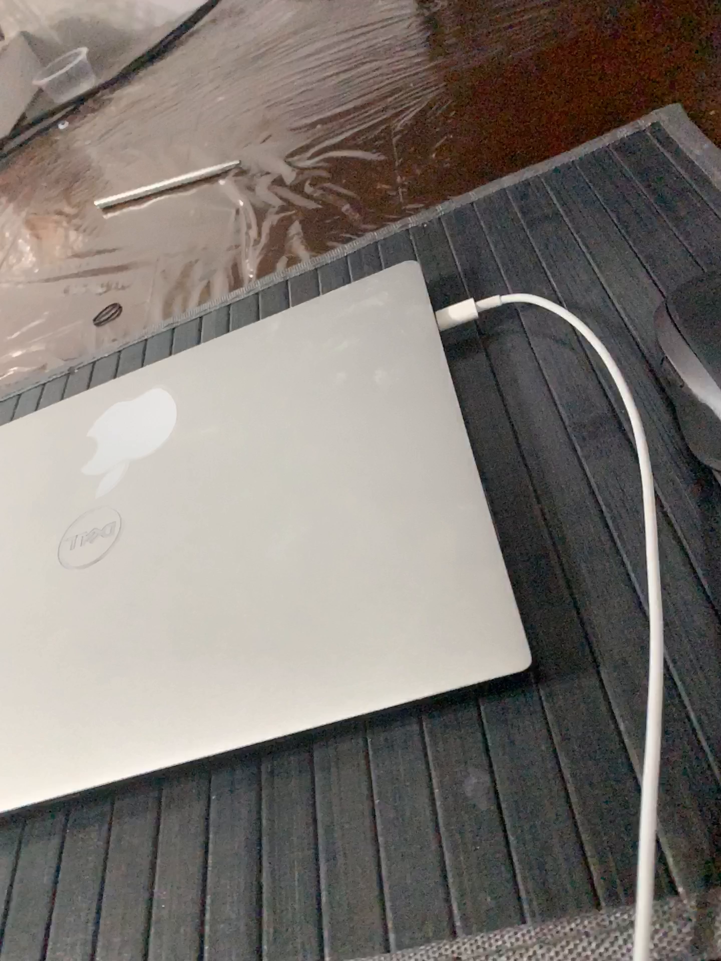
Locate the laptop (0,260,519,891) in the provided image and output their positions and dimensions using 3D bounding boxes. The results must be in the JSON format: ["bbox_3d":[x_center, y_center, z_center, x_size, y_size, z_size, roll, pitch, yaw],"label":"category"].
[{"bbox_3d":[-0.095,0.020,0.275,0.271,0.001,0.189,-19,45,13],"label":"laptop"}]
